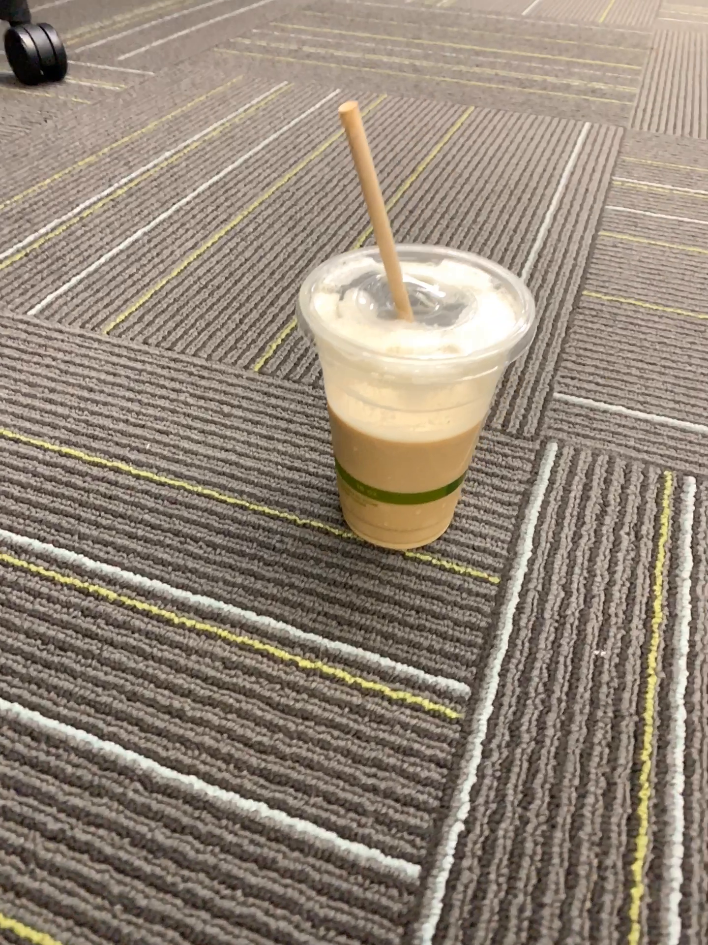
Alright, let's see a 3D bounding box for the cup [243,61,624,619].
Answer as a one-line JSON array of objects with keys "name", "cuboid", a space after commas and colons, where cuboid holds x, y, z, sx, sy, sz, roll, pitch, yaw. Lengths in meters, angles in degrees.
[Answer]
[{"name": "cup", "cuboid": [0.025, -0.049, 0.303, 0.090, 0.189, 0.090, 1, 42, -1]}]
